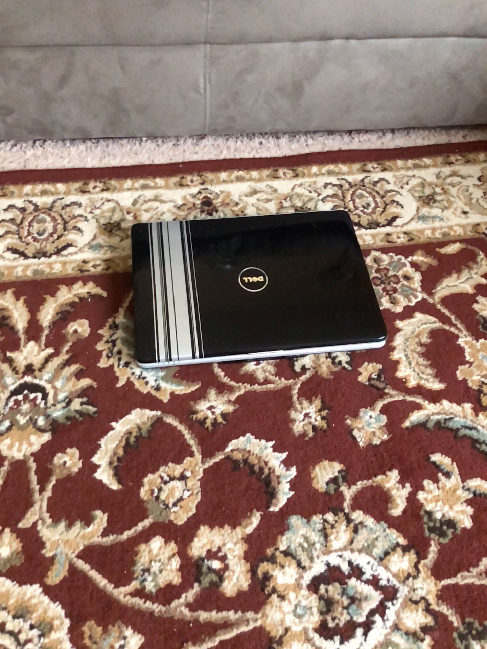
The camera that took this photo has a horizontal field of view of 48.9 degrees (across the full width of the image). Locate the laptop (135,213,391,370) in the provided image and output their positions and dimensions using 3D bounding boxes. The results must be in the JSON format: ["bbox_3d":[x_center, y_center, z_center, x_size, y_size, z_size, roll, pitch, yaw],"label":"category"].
[{"bbox_3d":[0.019,-0.061,0.805,0.351,0.015,0.242,-5,59,-7],"label":"laptop"}]
